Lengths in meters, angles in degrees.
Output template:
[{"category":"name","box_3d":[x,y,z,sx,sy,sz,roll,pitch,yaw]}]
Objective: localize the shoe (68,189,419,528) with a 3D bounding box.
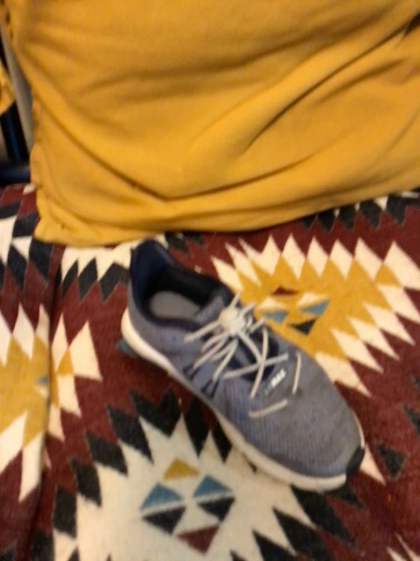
[{"category":"shoe","box_3d":[0.017,0.034,0.297,0.212,0.074,0.094,34,53,25]}]
